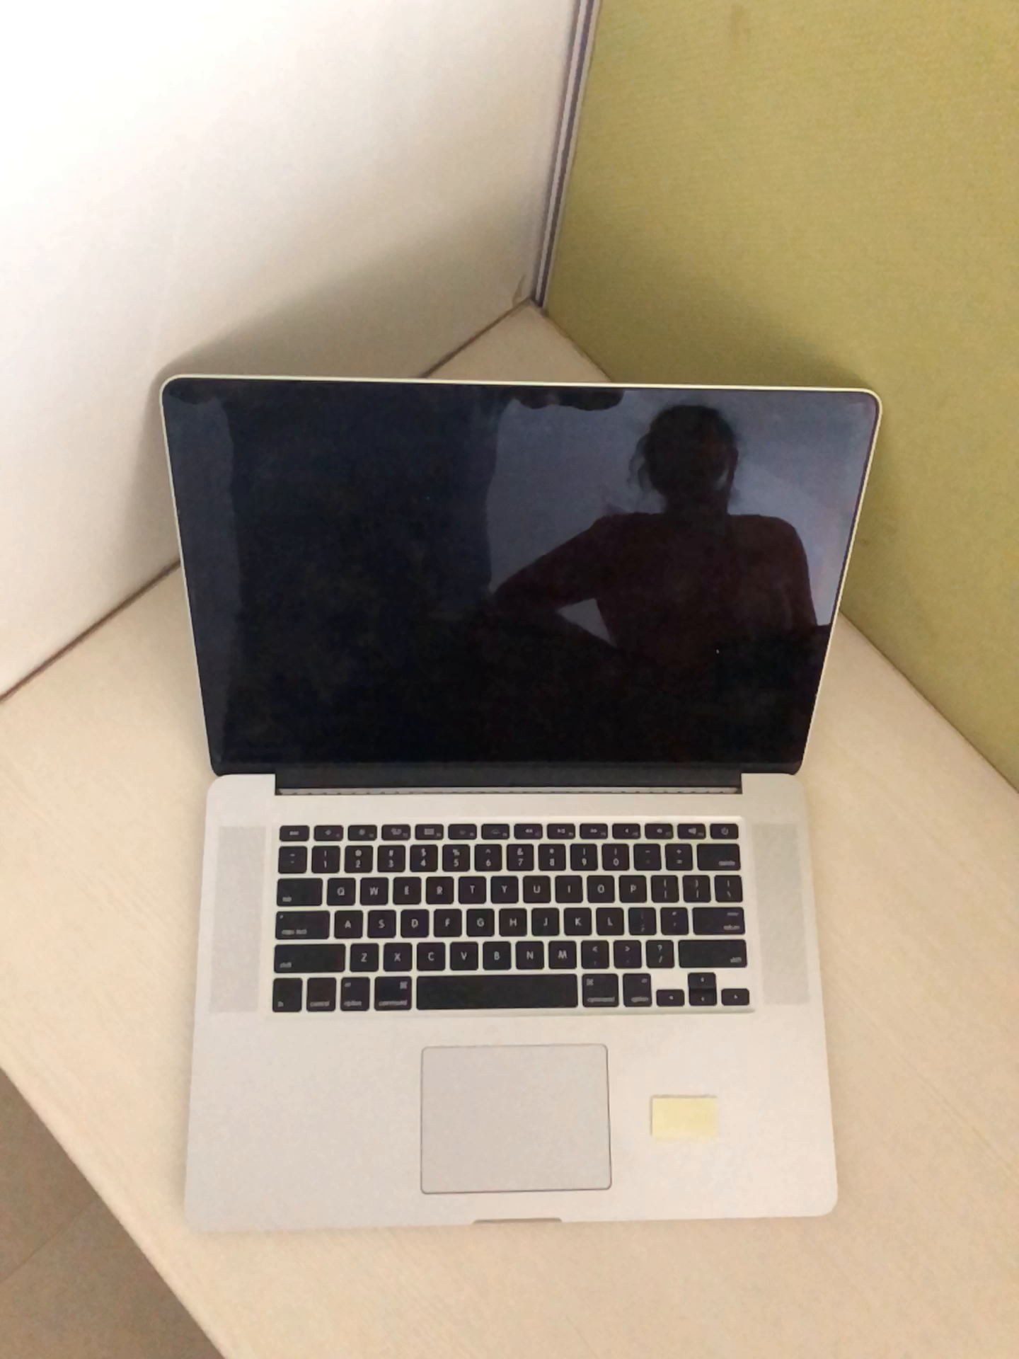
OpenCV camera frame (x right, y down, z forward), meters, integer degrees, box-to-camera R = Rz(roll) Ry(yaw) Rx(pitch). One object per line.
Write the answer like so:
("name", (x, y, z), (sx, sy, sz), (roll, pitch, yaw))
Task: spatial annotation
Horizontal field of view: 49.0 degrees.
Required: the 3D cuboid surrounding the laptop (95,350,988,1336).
("laptop", (0.007, 0.070, 0.553), (0.345, 0.164, 0.403), (0, 77, -4))
